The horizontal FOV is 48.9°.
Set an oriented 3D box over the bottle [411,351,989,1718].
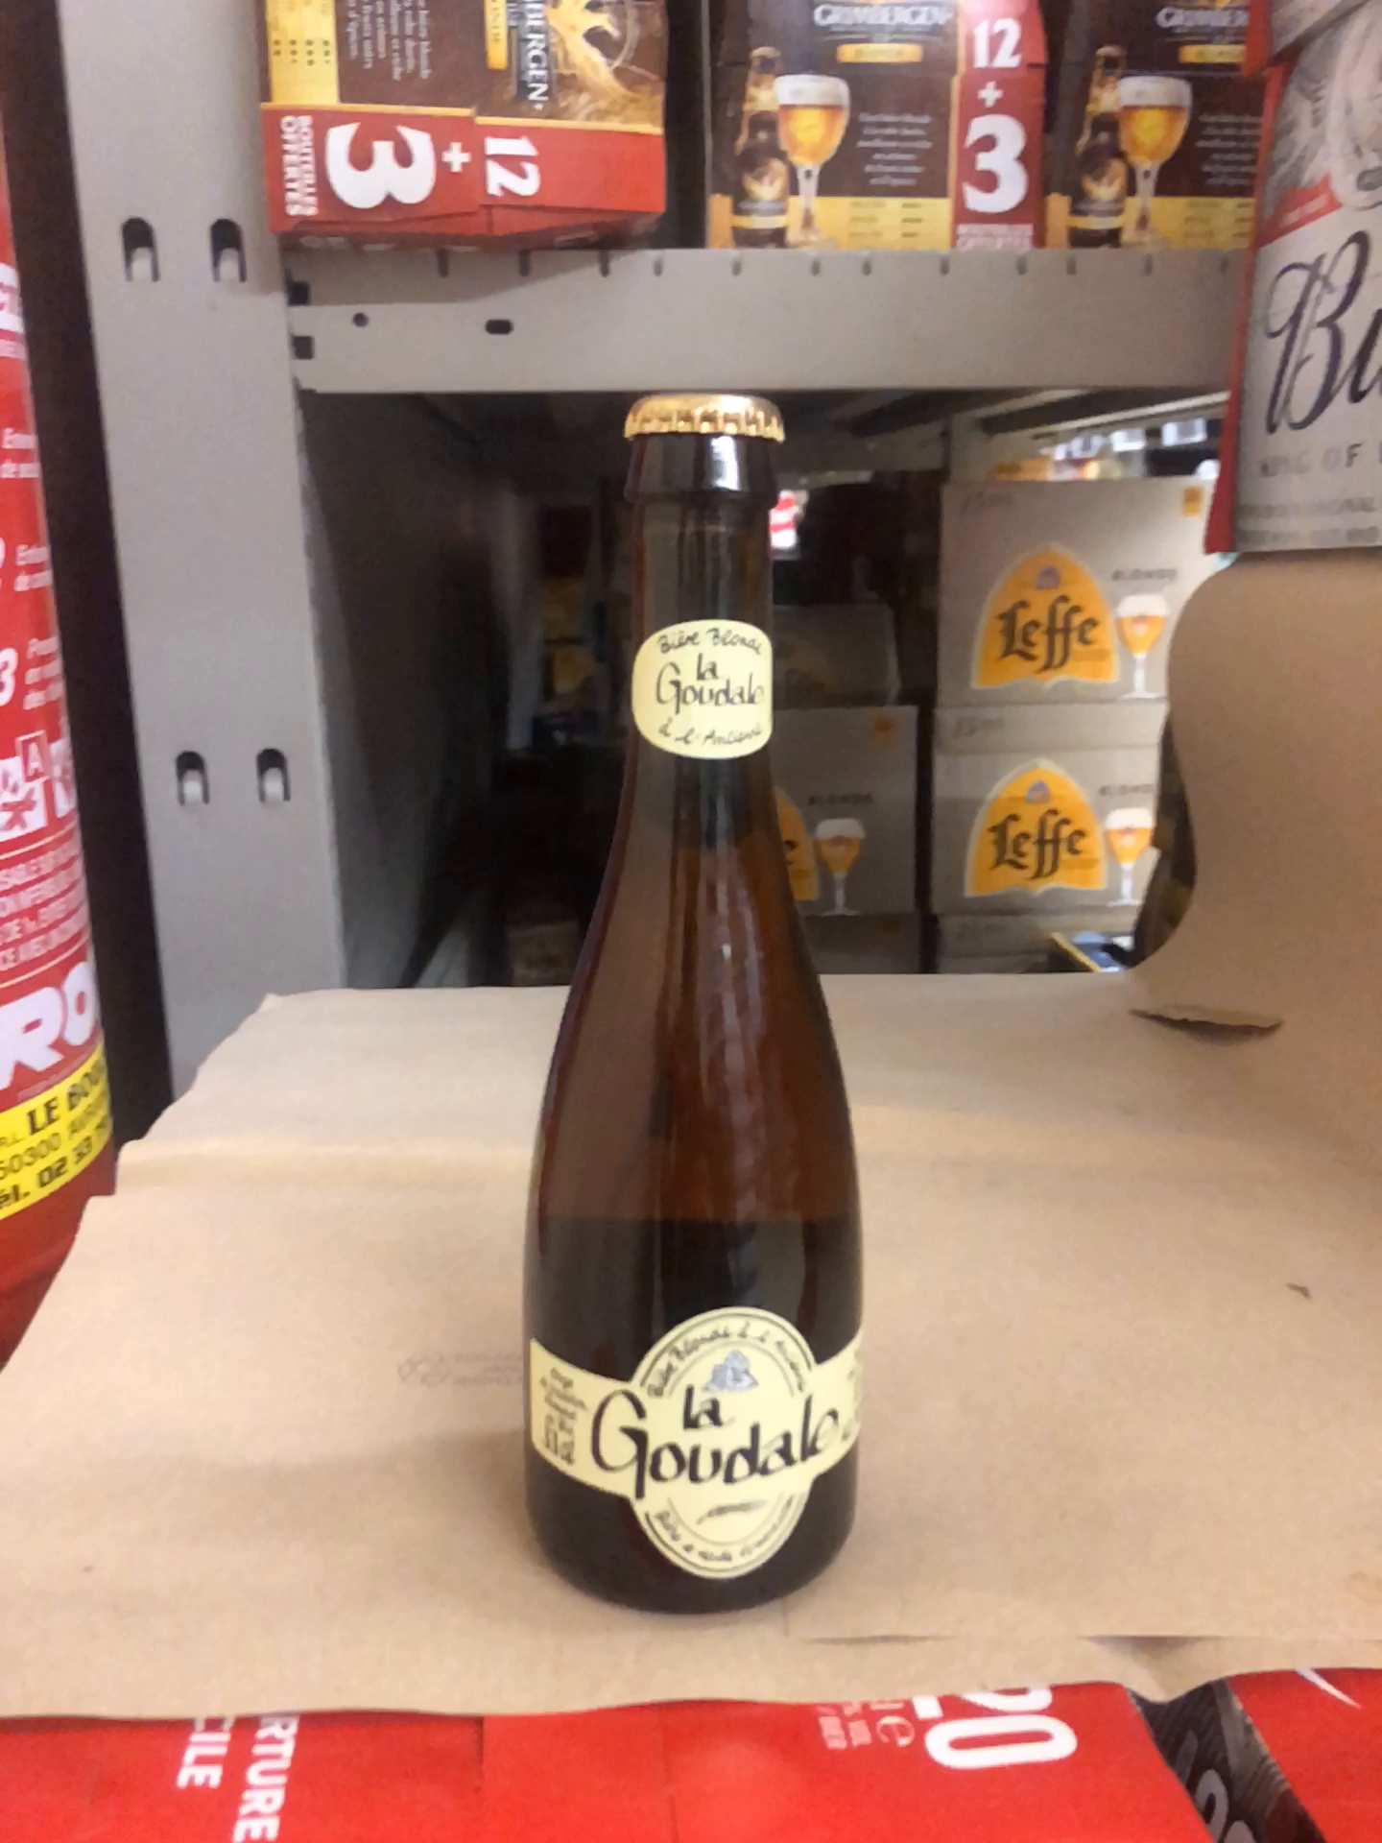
[{"bbox_3d":[-0.004,0.018,0.276,0.080,0.219,0.070,-3,14,-15],"label":"bottle"}]
